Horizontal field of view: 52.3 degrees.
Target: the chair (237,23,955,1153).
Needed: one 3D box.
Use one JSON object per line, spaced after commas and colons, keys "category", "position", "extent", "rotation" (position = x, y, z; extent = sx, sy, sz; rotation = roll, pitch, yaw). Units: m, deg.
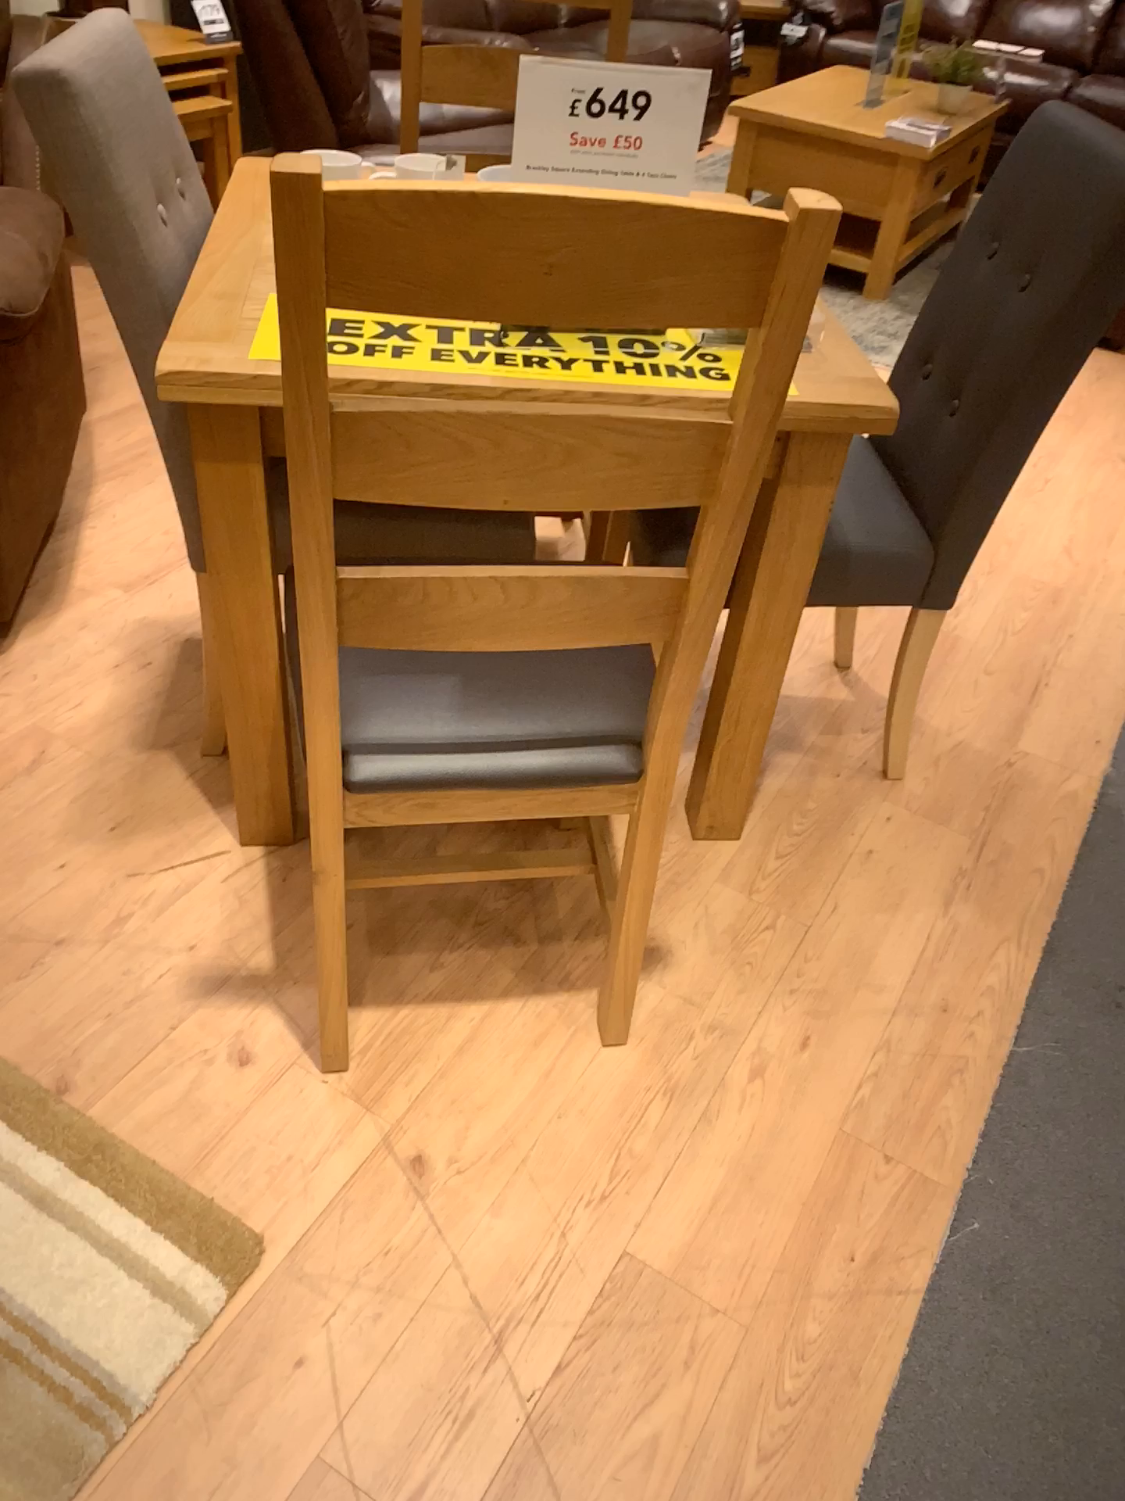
{"category": "chair", "position": [-0.054, -0.111, 1.295], "extent": [0.470, 1.099, 0.555], "rotation": [0, 40, -9]}
